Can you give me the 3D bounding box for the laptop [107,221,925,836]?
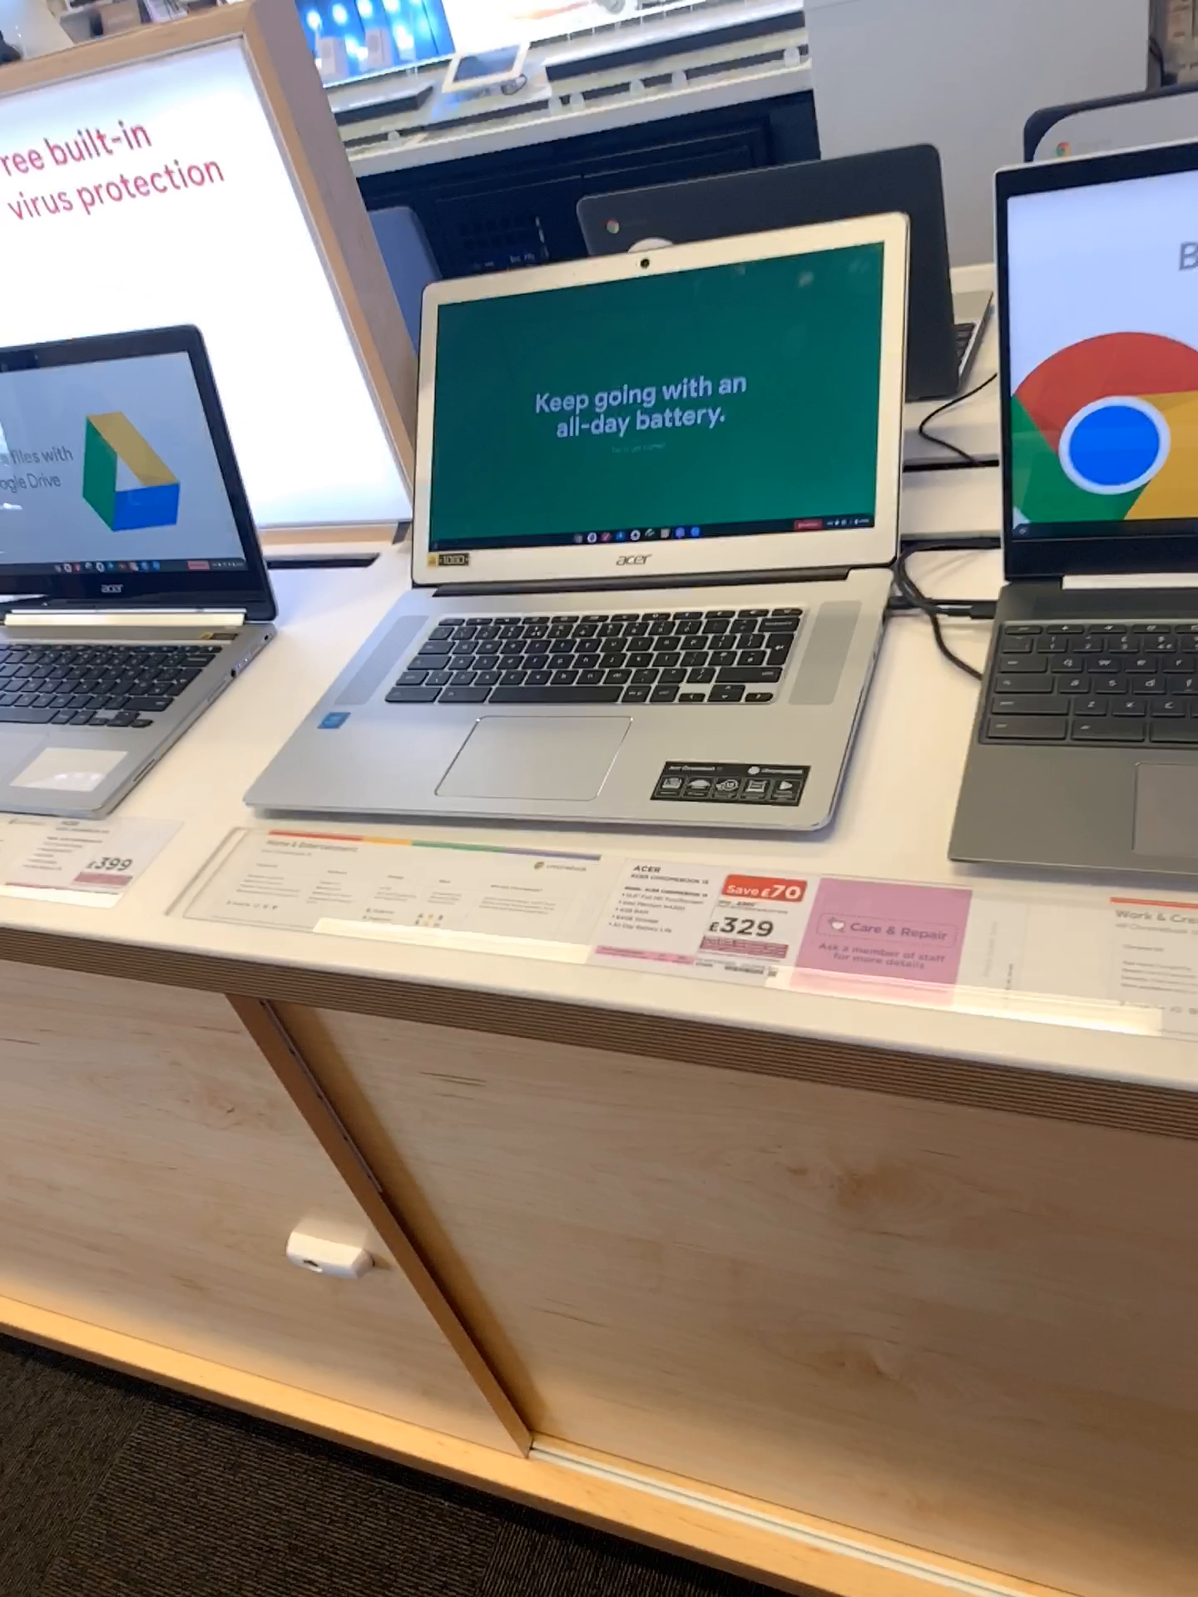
[{"bbox_3d":[-0.011,-0.191,0.803,0.375,0.168,0.433,2,42,23],"label":"laptop"}]
